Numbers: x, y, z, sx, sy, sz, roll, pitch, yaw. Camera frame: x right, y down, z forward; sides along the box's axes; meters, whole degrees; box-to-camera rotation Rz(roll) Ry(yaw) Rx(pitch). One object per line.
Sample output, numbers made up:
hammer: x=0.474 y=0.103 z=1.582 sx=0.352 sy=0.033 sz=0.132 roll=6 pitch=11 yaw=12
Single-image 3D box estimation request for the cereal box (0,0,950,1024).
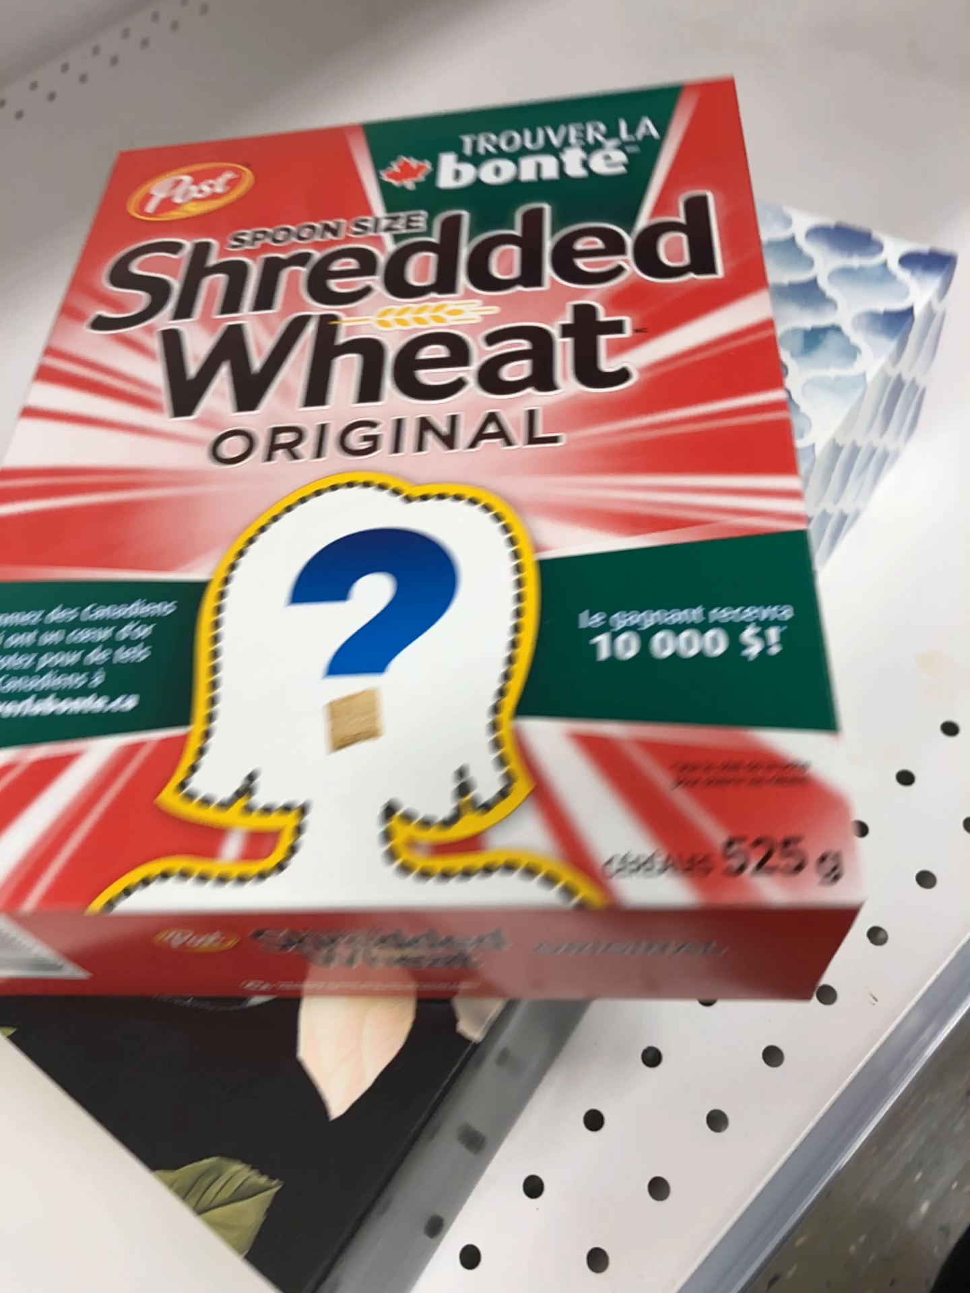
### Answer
cereal box: x=-0.033 y=-0.053 z=0.285 sx=0.230 sy=0.060 sz=0.280 roll=-4 pitch=56 yaw=9
